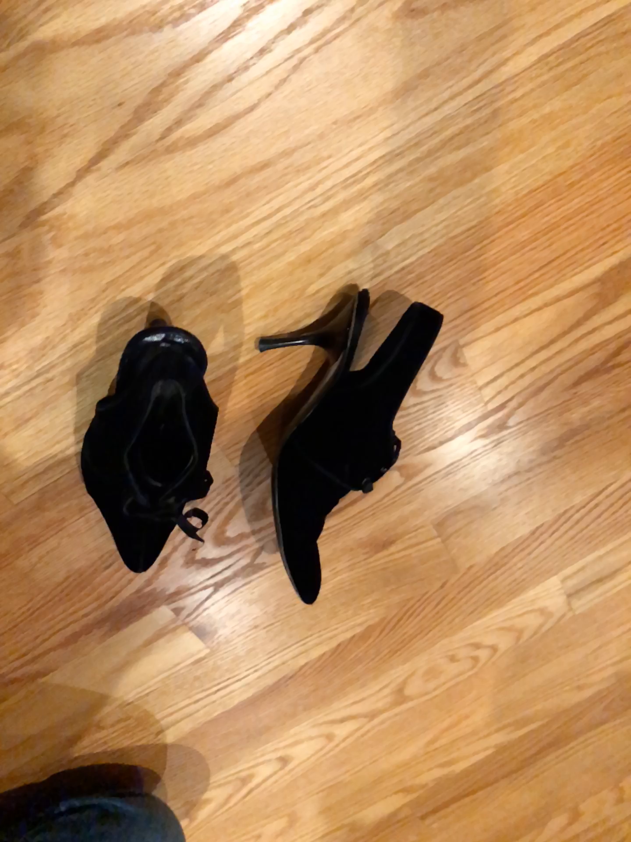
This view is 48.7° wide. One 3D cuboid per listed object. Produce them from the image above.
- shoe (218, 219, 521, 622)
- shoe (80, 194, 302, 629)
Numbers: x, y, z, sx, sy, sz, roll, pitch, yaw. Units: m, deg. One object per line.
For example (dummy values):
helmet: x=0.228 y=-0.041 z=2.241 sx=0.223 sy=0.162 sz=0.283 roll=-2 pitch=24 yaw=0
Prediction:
shoe: x=0.021 y=0.008 z=0.492 sx=0.118 sy=0.107 sz=0.253 roll=7 pitch=117 yaw=-20
shoe: x=-0.095 y=-0.002 z=0.461 sx=0.107 sy=0.117 sz=0.253 roll=2 pitch=119 yaw=-18
